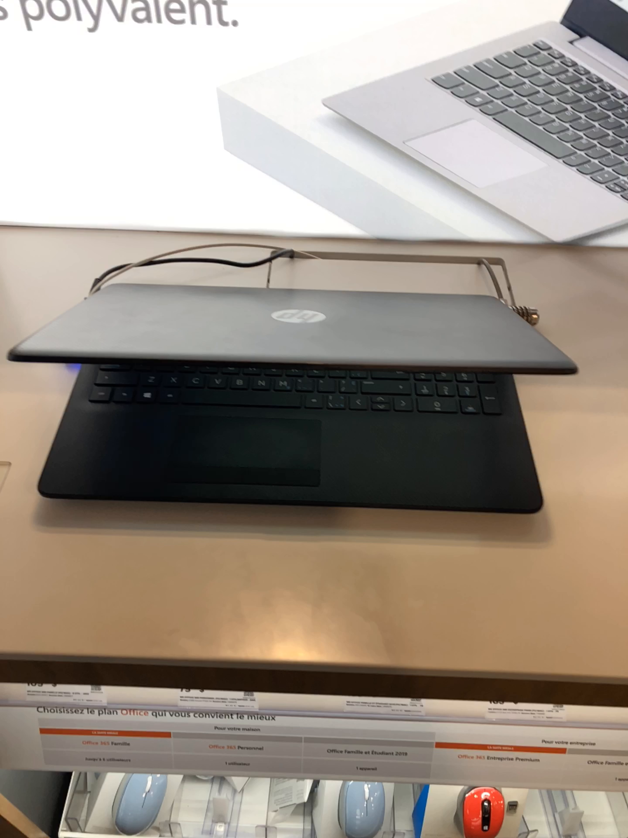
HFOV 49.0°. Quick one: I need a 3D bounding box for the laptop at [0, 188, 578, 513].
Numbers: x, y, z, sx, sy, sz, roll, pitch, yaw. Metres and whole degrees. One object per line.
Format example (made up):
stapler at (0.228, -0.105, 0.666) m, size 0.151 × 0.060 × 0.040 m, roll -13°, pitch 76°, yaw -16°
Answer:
laptop at (-0.014, -0.064, 0.537) m, size 0.351 × 0.107 × 0.239 m, roll 2°, pitch 48°, yaw 1°
